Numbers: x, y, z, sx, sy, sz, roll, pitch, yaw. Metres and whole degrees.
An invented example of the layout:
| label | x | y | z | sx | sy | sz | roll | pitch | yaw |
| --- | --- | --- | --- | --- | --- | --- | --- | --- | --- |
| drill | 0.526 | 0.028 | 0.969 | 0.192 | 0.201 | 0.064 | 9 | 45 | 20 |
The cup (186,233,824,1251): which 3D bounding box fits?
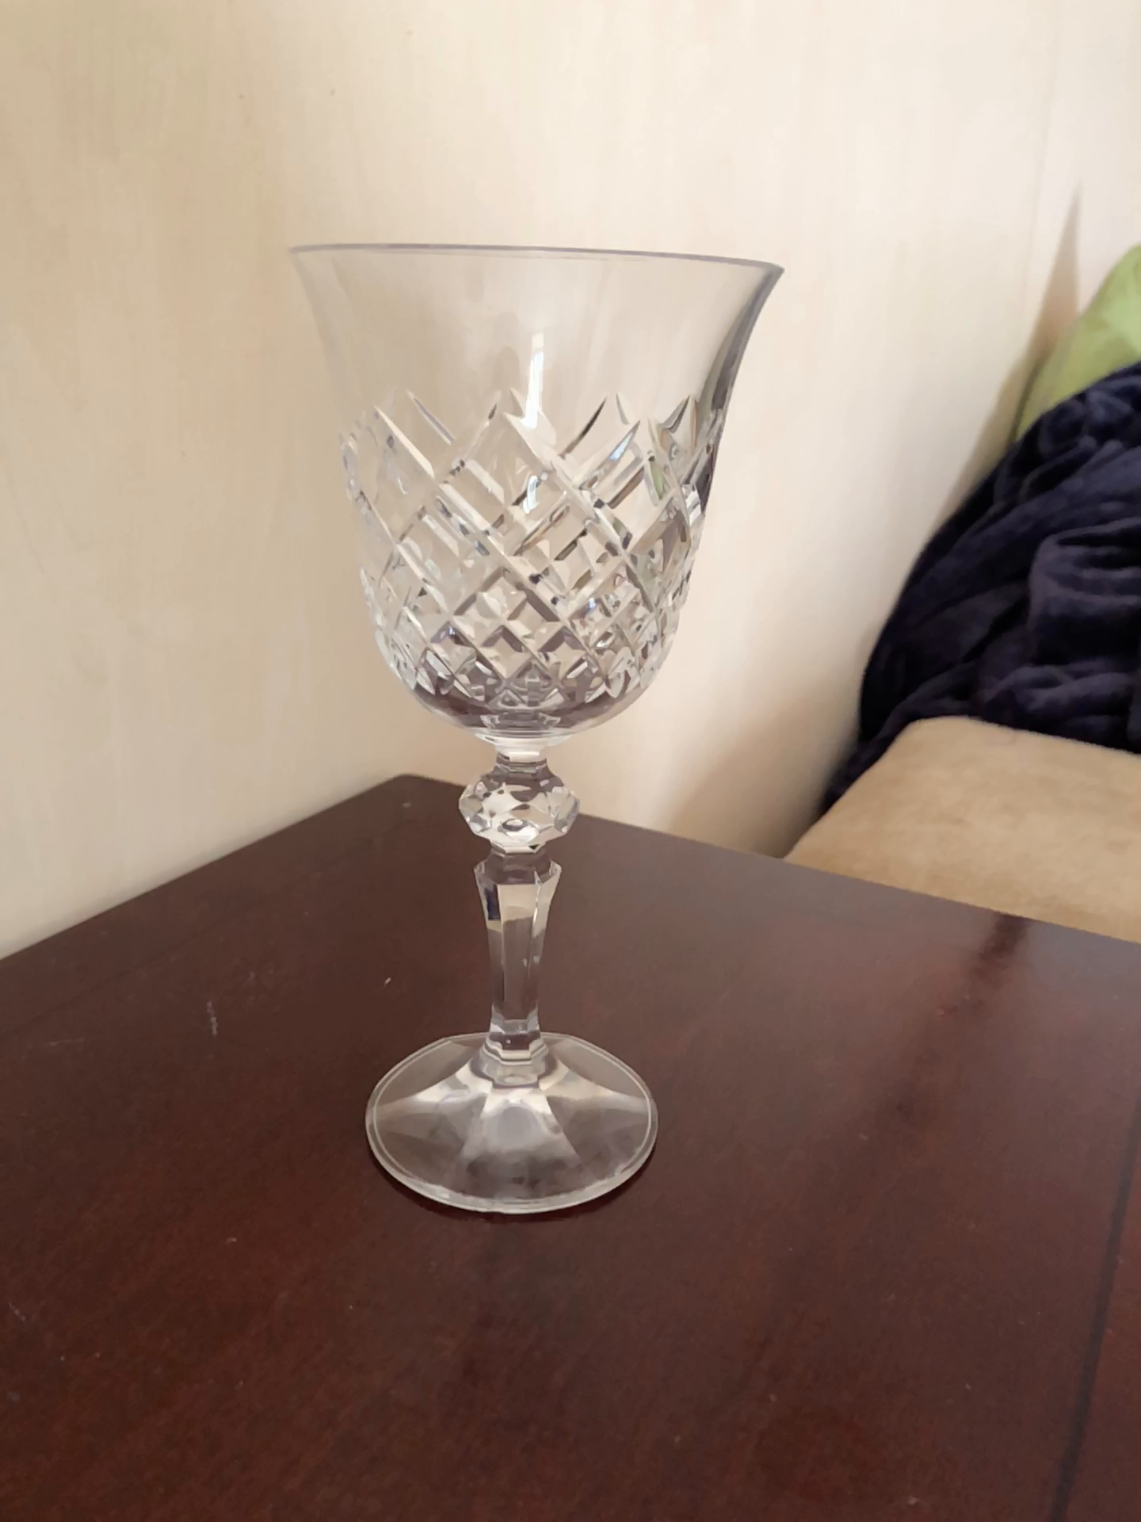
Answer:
| label | x | y | z | sx | sy | sz | roll | pitch | yaw |
| --- | --- | --- | --- | --- | --- | --- | --- | --- | --- |
| cup | -0.011 | -0.008 | 0.251 | 0.091 | 0.171 | 0.092 | 2 | 19 | -1 |
